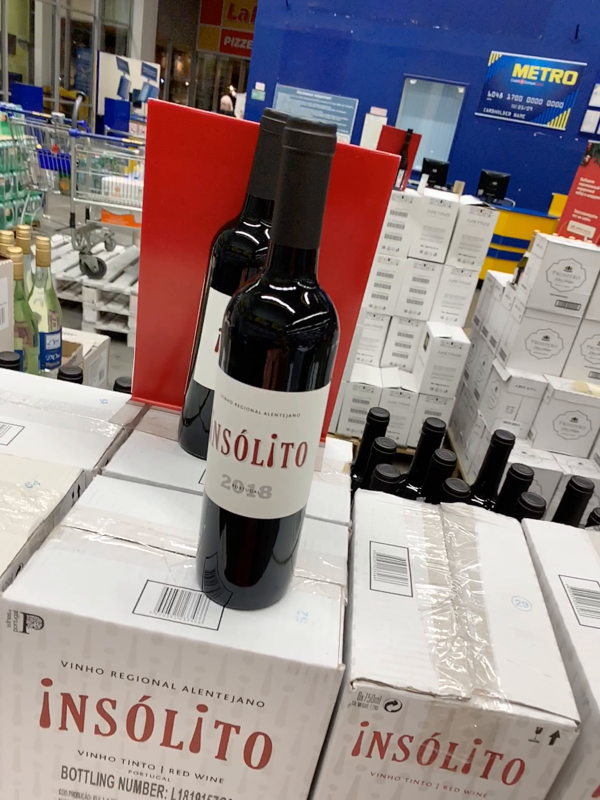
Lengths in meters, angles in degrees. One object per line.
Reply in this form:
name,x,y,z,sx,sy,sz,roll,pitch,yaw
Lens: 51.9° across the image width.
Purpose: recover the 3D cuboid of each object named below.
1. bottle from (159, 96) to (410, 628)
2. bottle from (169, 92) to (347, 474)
bottle,-0.016,-0.015,0.397,0.090,0.308,0.090,10,24,-4
bottle,-0.052,-0.091,0.559,0.090,0.318,0.090,12,28,-6
